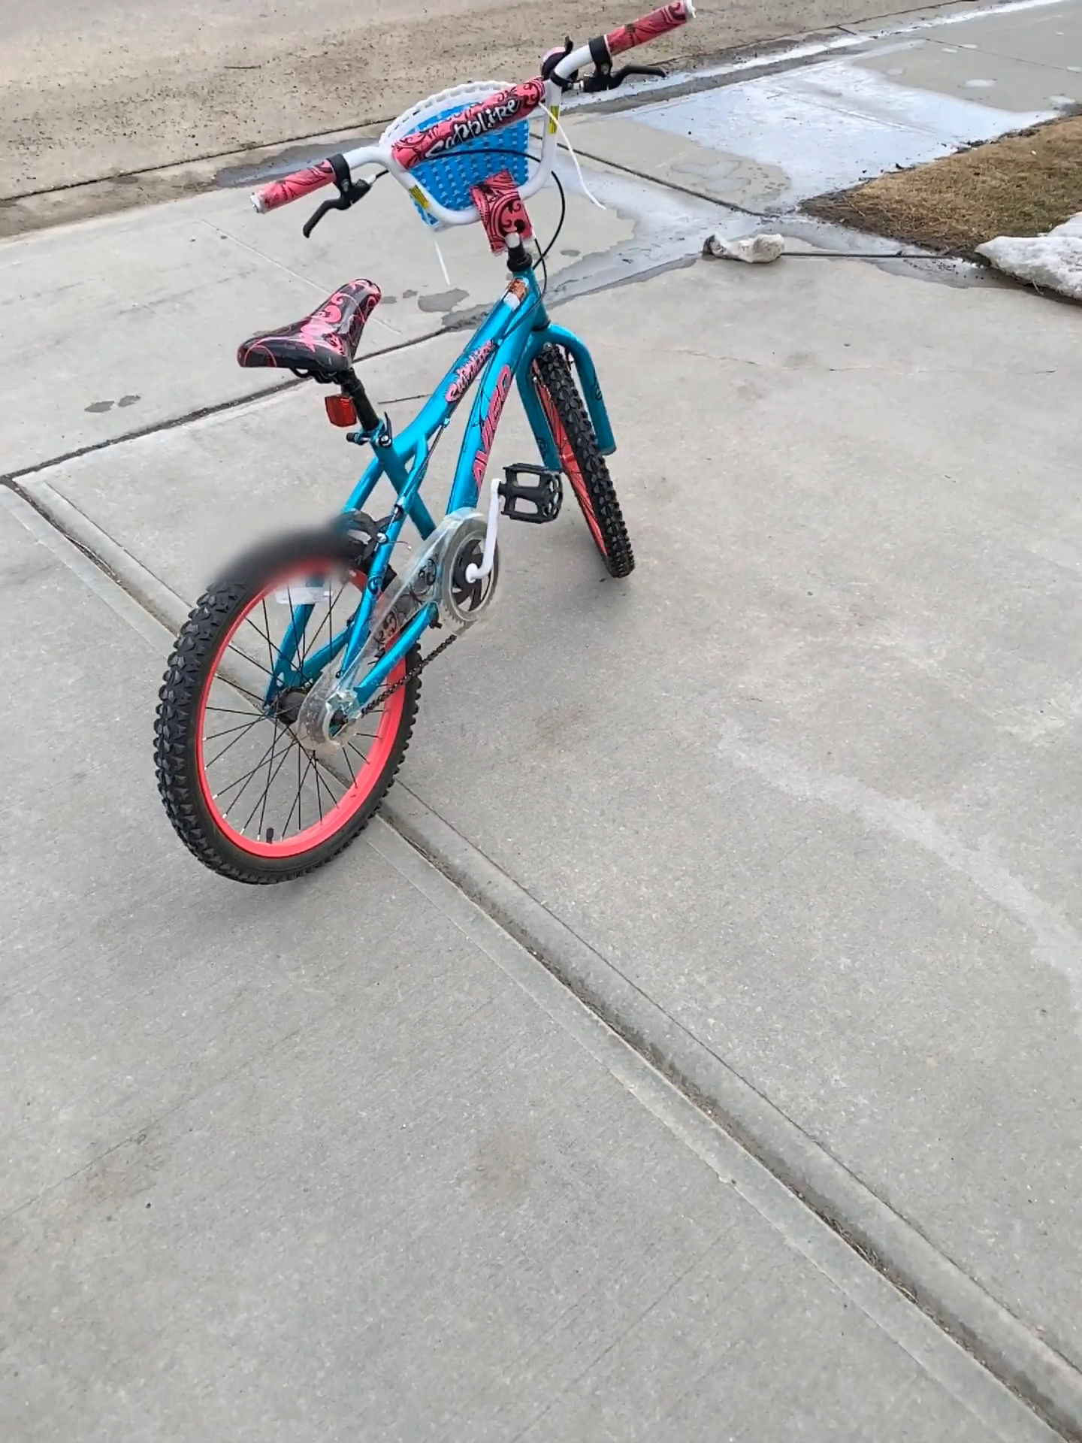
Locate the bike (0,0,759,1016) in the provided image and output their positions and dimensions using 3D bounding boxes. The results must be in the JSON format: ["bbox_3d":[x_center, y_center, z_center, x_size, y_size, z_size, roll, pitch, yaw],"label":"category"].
[{"bbox_3d":[-0.268,-0.504,1.630,0.744,0.946,1.263,18,48,15],"label":"bike"}]
